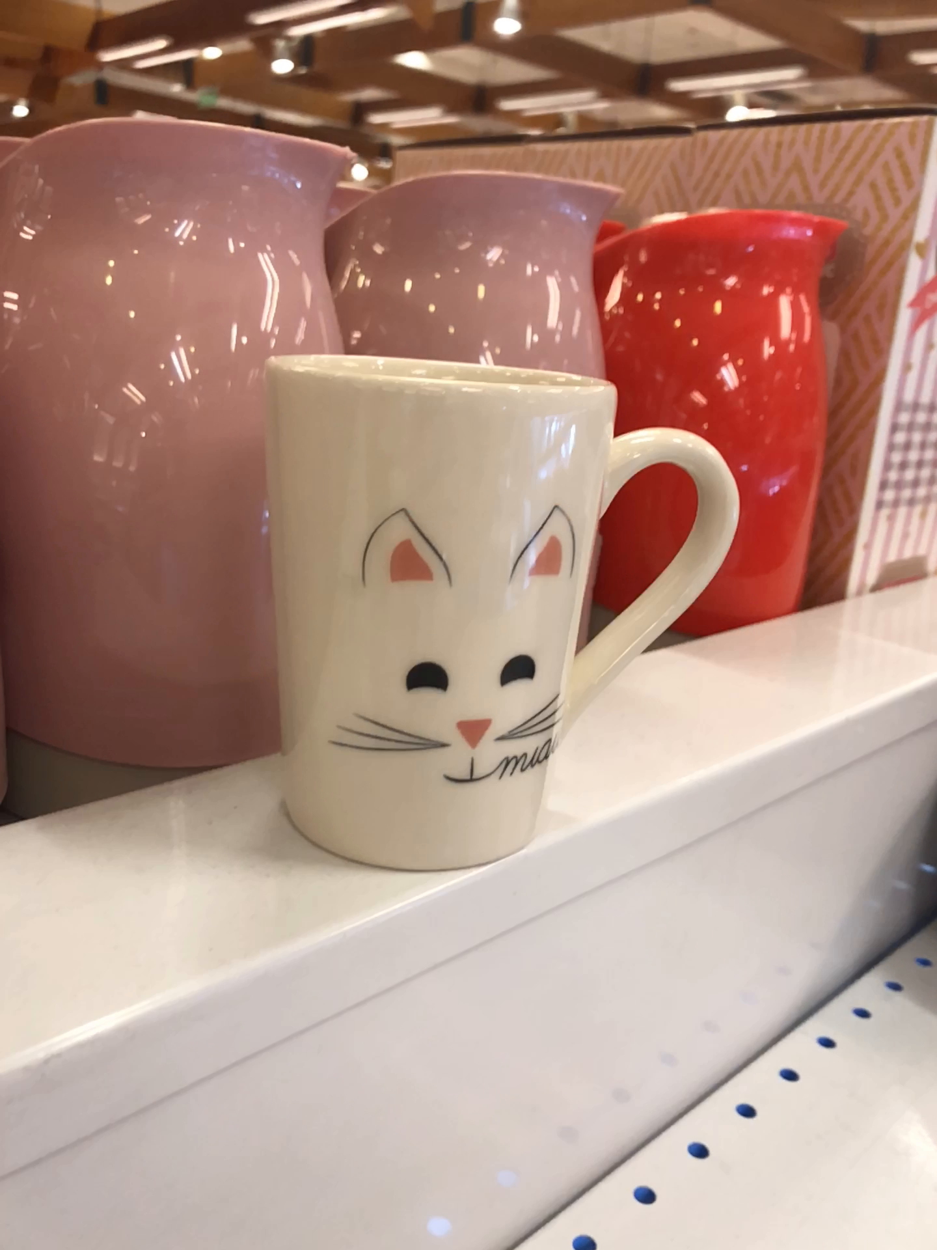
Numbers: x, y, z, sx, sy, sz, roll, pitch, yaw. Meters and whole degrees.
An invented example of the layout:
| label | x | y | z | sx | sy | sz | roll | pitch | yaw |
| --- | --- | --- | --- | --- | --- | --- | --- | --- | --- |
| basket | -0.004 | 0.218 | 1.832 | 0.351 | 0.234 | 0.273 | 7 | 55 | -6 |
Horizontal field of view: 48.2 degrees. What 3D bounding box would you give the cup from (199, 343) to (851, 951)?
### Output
| label | x | y | z | sx | sy | sz | roll | pitch | yaw |
| --- | --- | --- | --- | --- | --- | --- | --- | --- | --- |
| cup | 0.005 | -0.005 | 0.231 | 0.110 | 0.099 | 0.080 | -4 | 18 | -27 |
